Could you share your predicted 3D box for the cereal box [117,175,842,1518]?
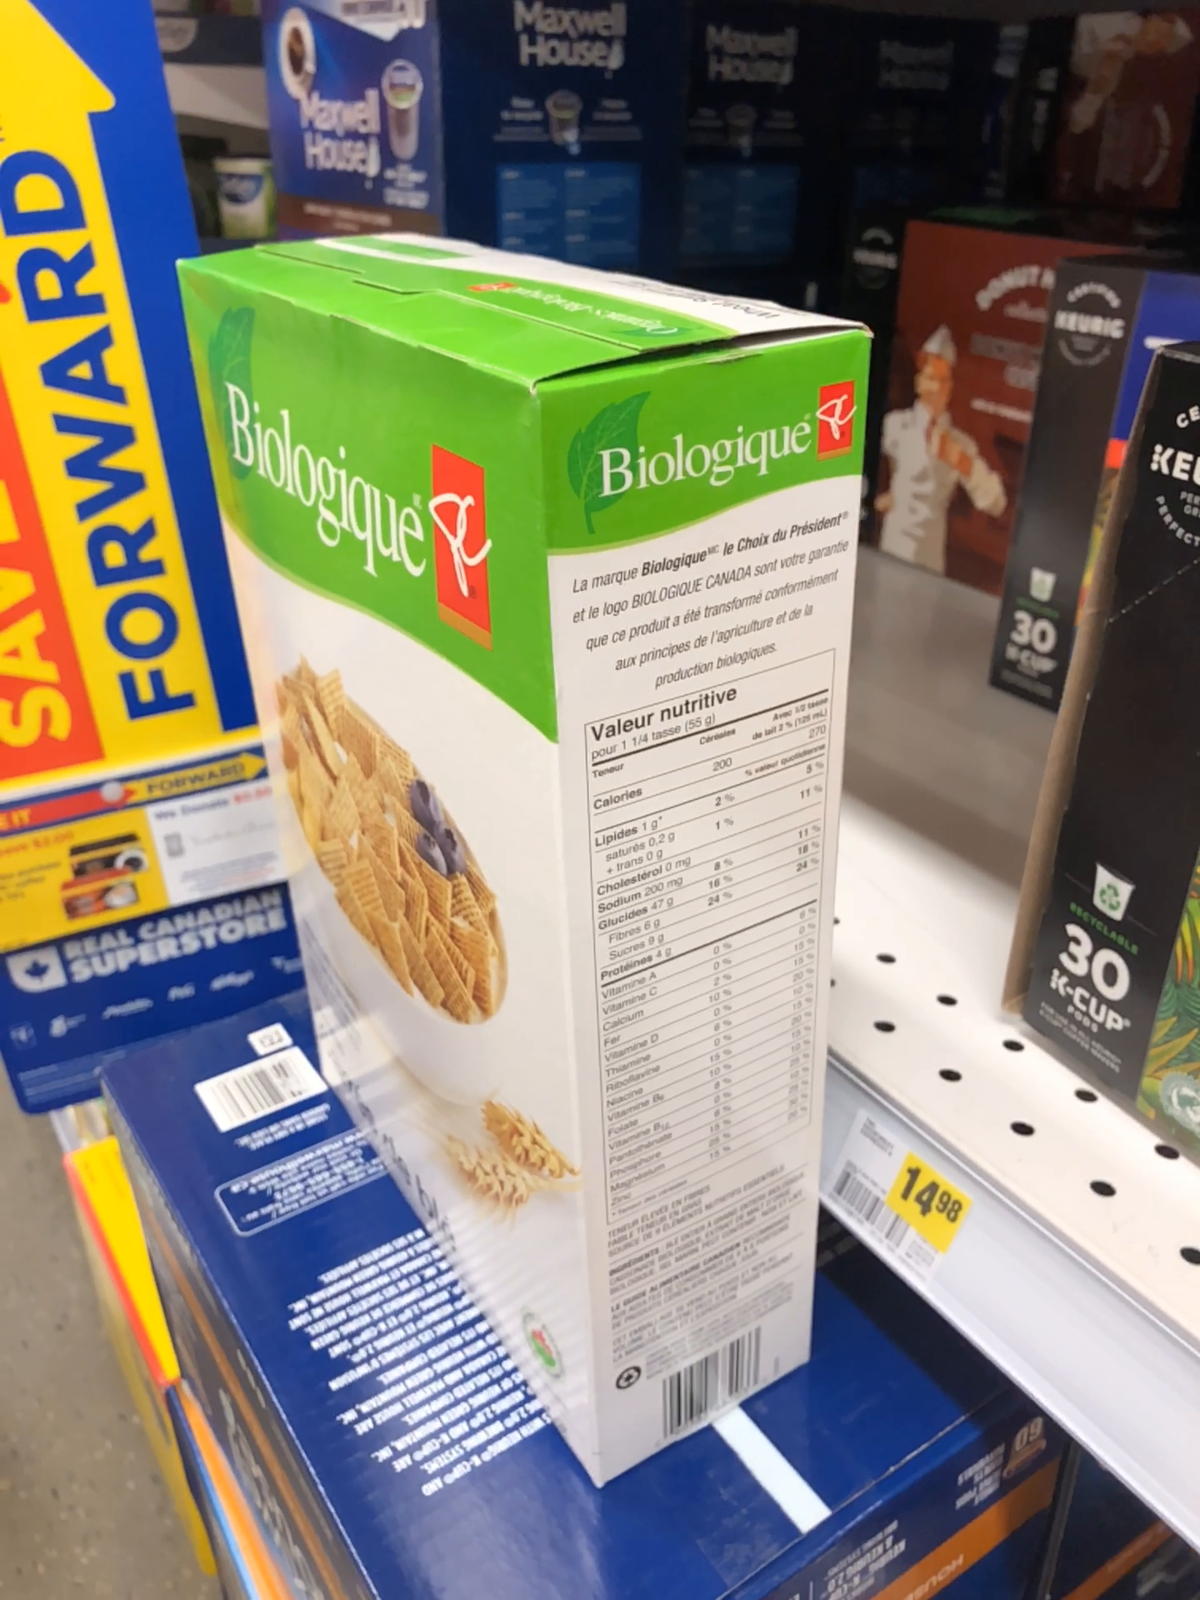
[{"bbox_3d":[-0.034,0.001,0.358,0.070,0.289,0.211,-19,33,-24],"label":"cereal box"}]
